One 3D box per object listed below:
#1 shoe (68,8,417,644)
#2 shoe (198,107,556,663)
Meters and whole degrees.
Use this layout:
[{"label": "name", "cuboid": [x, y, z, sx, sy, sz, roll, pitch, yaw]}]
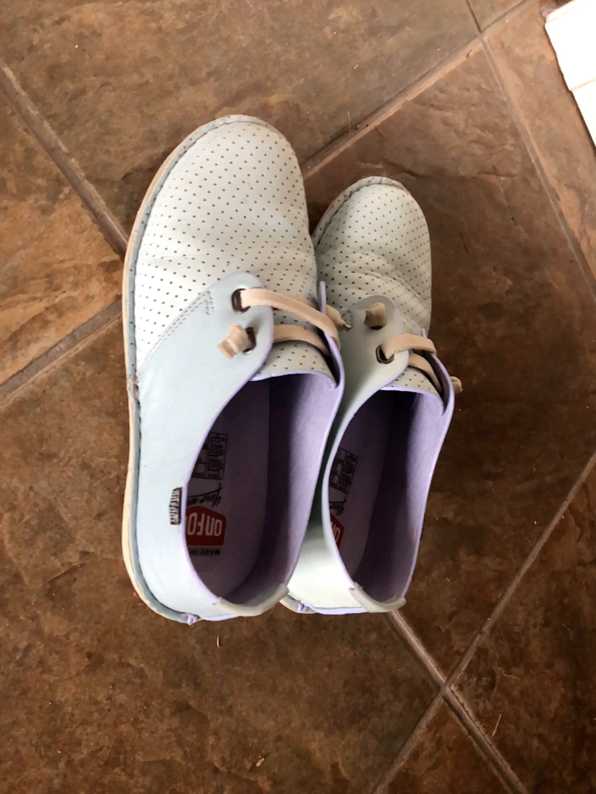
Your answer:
[{"label": "shoe", "cuboid": [-0.027, -0.025, 0.320, 0.100, 0.100, 0.250, 12, 83, -34]}, {"label": "shoe", "cuboid": [0.046, -0.004, 0.357, 0.100, 0.100, 0.250, 22, 77, -32]}]
